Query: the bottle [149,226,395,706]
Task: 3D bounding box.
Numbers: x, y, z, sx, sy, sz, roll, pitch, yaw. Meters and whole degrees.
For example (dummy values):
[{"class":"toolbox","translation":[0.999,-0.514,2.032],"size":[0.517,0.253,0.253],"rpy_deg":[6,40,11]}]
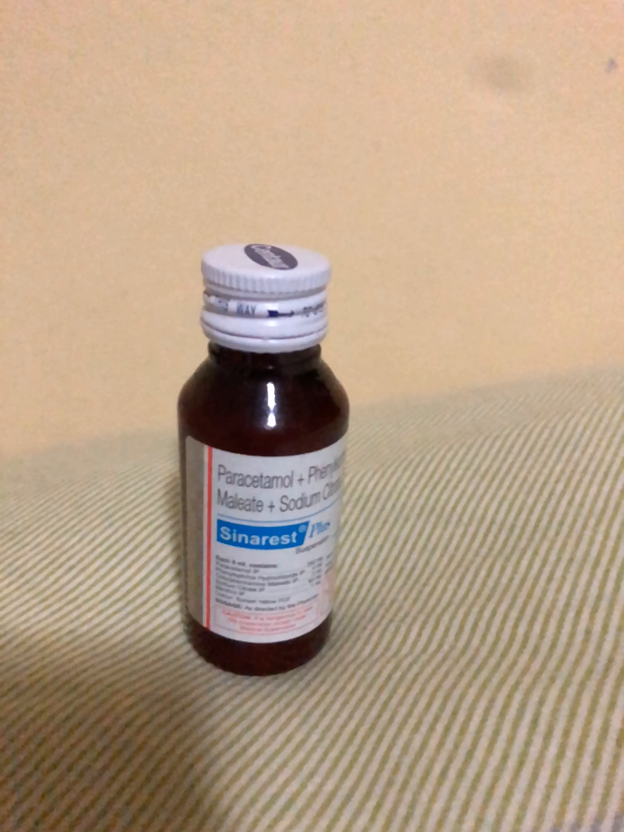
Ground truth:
[{"class":"bottle","translation":[-0.012,0.011,0.163],"size":[0.040,0.100,0.040],"rpy_deg":[3,25,-1]}]
